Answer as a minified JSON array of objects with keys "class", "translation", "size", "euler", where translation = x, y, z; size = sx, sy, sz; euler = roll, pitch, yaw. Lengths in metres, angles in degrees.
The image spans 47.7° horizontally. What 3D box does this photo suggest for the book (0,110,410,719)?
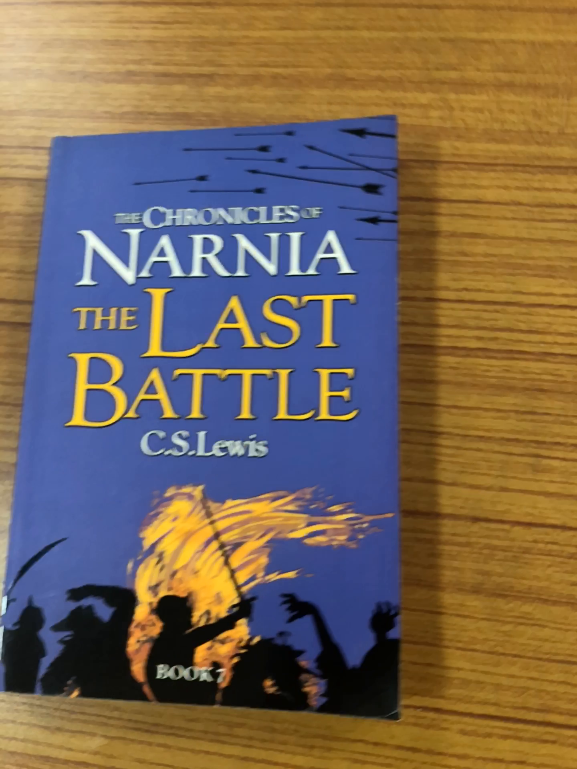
[{"class":"book","translation":[-0.030,0.004,0.234],"size":[0.140,0.030,0.200],"euler":[0,80,6]}]
